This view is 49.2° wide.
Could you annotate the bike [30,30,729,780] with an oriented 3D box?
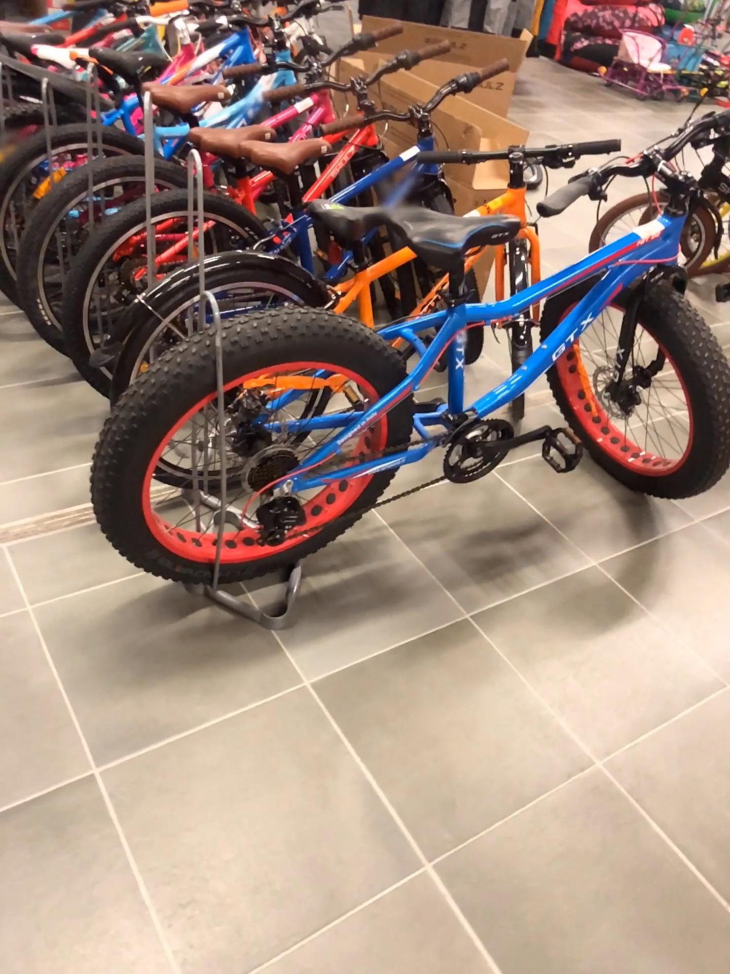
[{"bbox_3d":[0.231,-0.231,1.636,1.471,1.023,0.616,-15,44,-32],"label":"bike"}]
